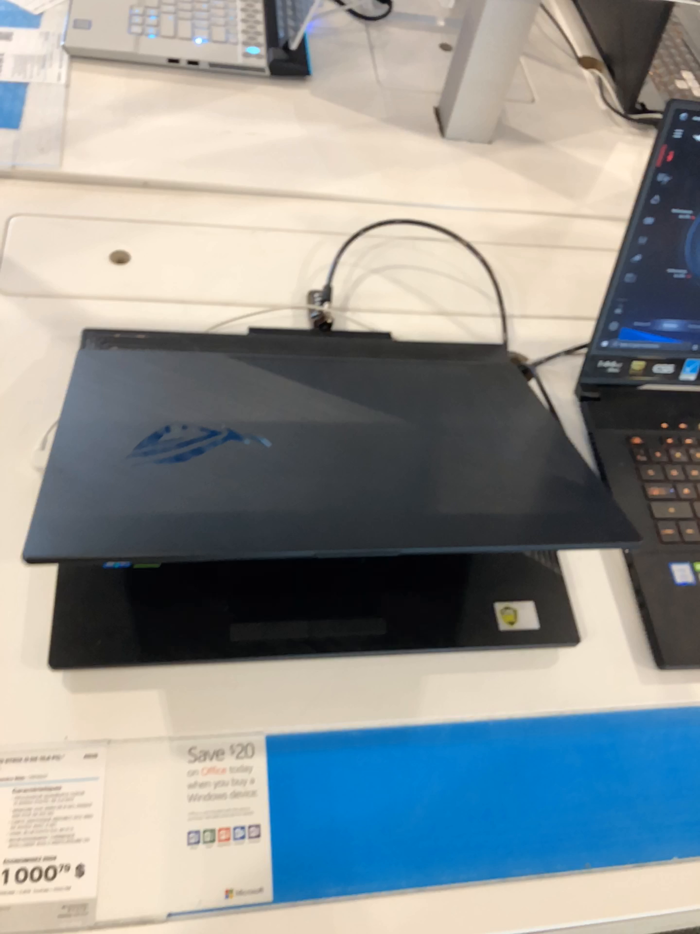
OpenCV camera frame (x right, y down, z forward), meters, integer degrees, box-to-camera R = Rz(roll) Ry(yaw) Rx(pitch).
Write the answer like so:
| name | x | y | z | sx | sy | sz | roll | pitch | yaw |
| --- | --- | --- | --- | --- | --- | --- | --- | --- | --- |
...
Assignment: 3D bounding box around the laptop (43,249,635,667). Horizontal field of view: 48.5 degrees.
| name | x | y | z | sx | sy | sz | roll | pitch | yaw |
| --- | --- | --- | --- | --- | --- | --- | --- | --- | --- |
| laptop | -0.014 | -0.015 | 0.538 | 0.331 | 0.097 | 0.263 | 0 | 58 | -9 |
